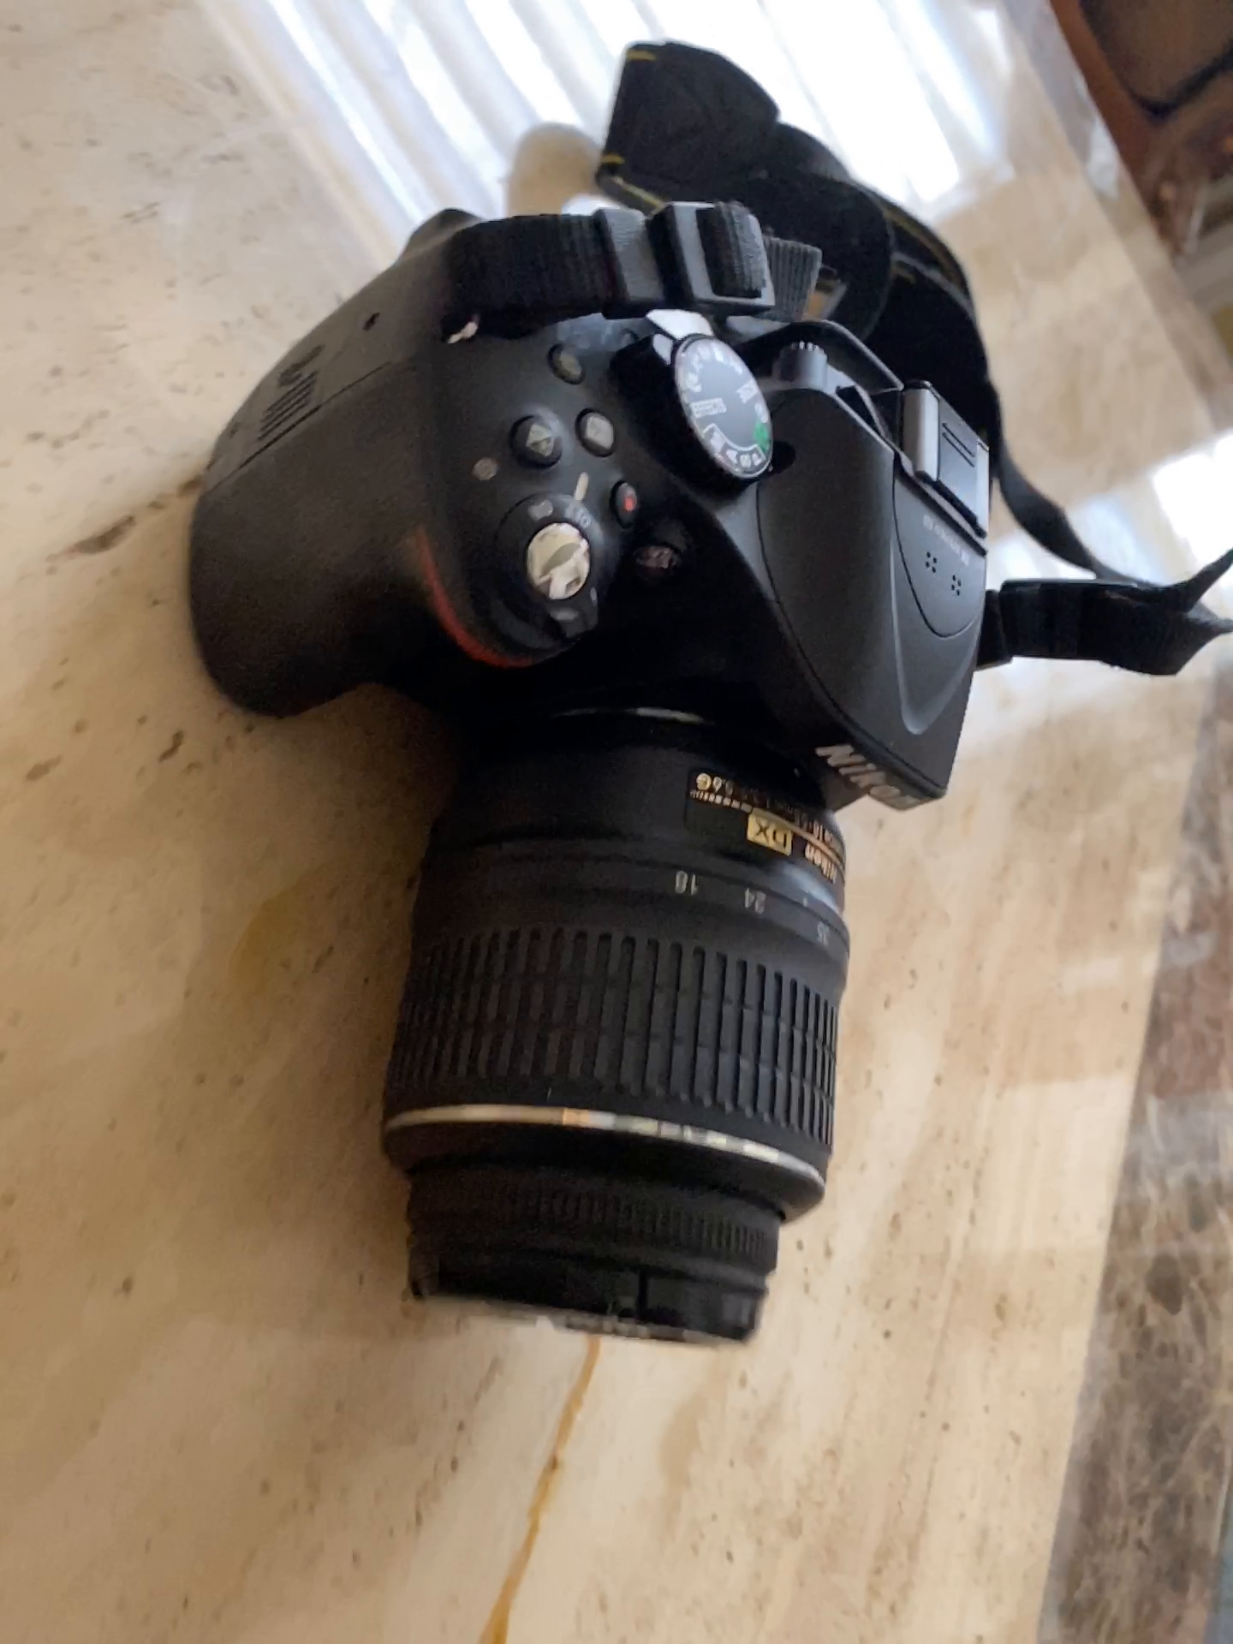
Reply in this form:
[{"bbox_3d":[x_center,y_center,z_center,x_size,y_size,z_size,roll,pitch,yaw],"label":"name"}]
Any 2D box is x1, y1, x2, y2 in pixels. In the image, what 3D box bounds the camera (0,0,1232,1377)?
[{"bbox_3d":[0.012,-0.003,0.212,0.152,0.099,0.159,28,56,-38],"label":"camera"}]
